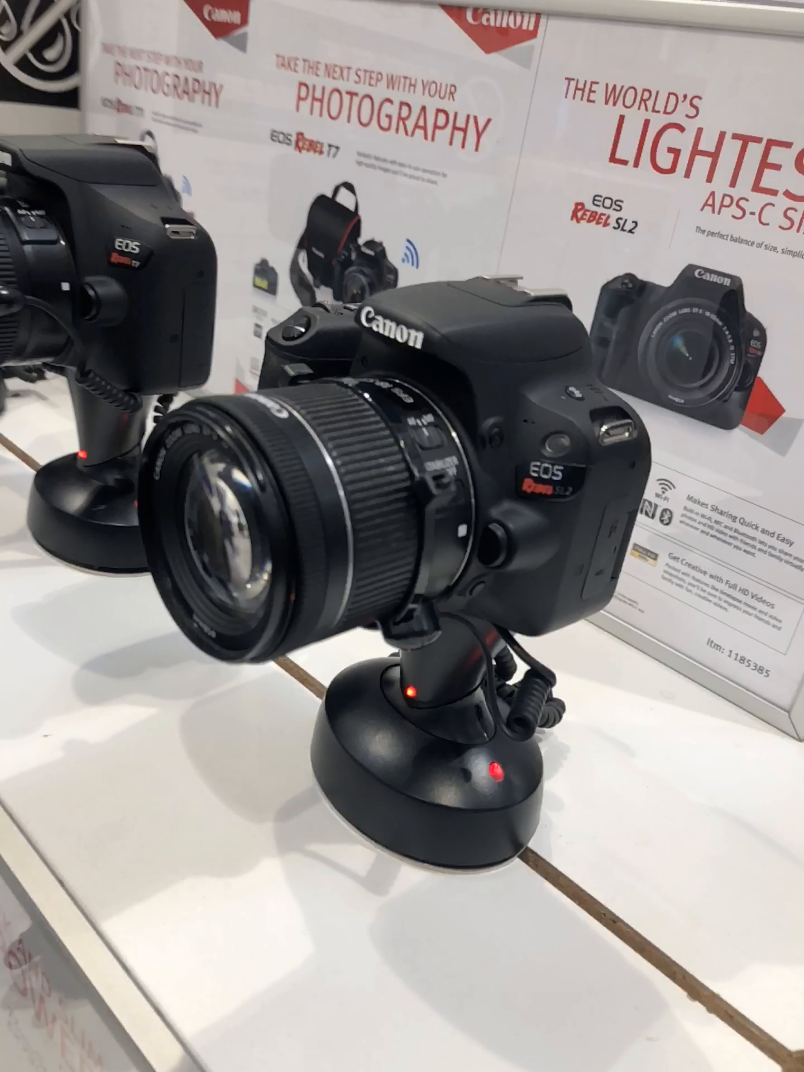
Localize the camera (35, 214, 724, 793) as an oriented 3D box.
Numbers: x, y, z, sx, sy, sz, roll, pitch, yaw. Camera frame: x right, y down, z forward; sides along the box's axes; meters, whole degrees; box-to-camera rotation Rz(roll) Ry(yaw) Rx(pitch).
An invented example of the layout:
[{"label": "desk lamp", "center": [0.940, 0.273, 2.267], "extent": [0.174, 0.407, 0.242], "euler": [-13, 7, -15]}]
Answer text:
[{"label": "camera", "center": [-0.013, -0.026, 0.244], "extent": [0.120, 0.089, 0.131], "euler": [-15, 35, -41]}]
